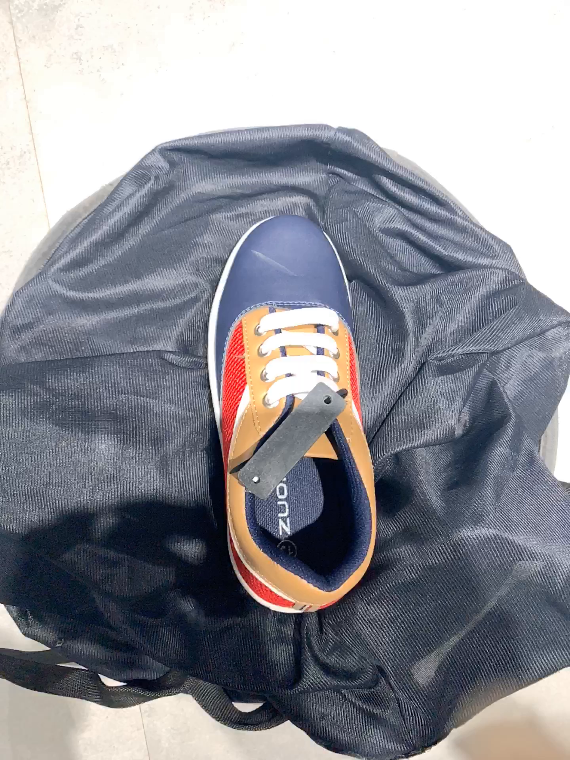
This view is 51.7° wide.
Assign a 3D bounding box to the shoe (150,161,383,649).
[{"bbox_3d":[-0.010,0.009,0.266,0.080,0.070,0.190,-4,77,1],"label":"shoe"}]
